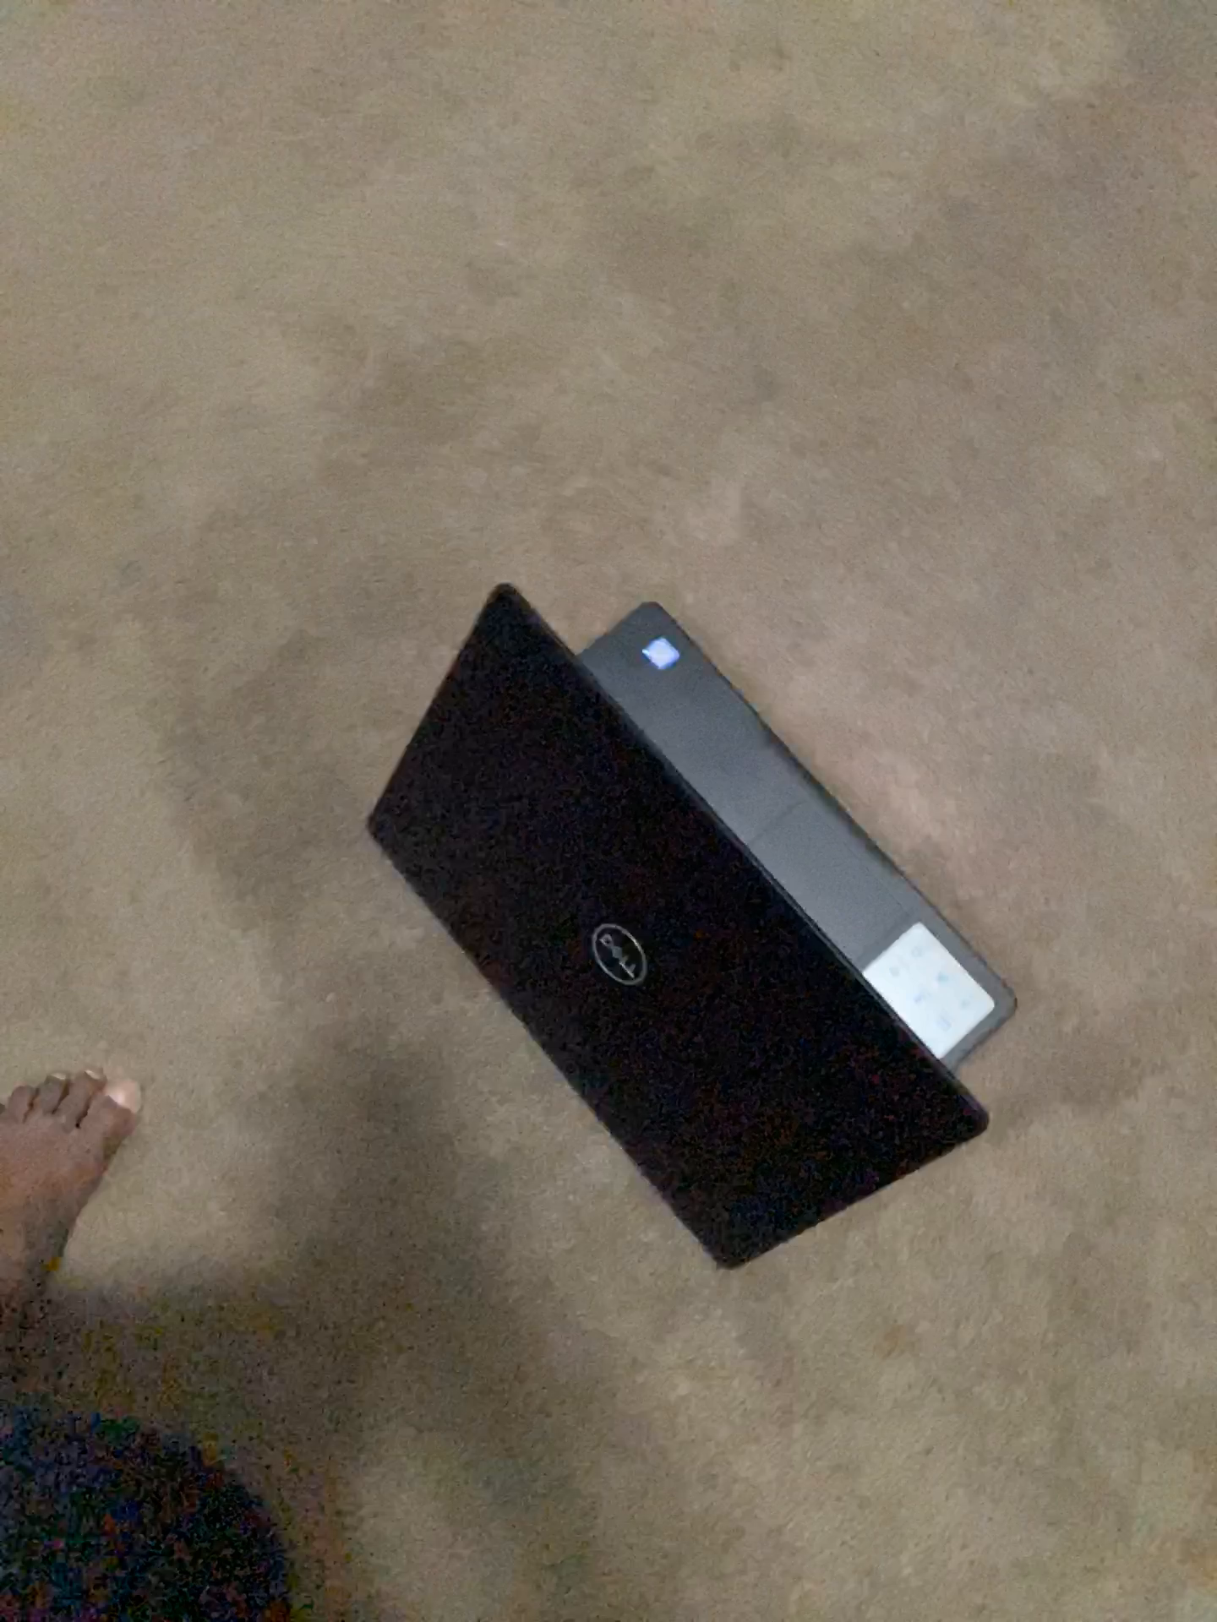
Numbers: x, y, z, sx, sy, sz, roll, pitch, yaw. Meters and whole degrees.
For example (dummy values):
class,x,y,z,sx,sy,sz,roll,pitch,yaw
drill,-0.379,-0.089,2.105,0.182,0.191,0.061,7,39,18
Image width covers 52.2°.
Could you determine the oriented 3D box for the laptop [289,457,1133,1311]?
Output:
class,x,y,z,sx,sy,sz,roll,pitch,yaw
laptop,0.050,0.039,0.741,0.252,0.202,0.376,-39,79,-9
